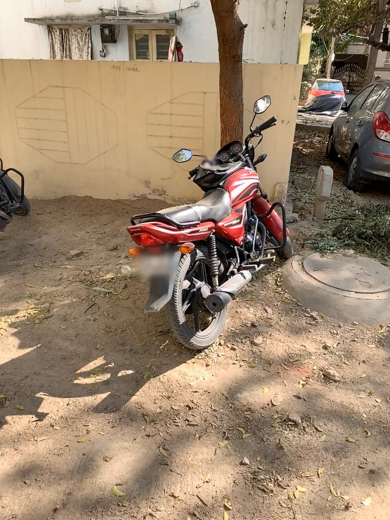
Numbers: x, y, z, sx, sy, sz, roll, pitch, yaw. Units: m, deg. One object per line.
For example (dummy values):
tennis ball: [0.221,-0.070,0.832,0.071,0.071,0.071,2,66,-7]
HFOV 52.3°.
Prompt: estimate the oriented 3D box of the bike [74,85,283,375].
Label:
bike: [0.016,-0.417,2.691,0.776,1.179,1.649,10,30,18]
